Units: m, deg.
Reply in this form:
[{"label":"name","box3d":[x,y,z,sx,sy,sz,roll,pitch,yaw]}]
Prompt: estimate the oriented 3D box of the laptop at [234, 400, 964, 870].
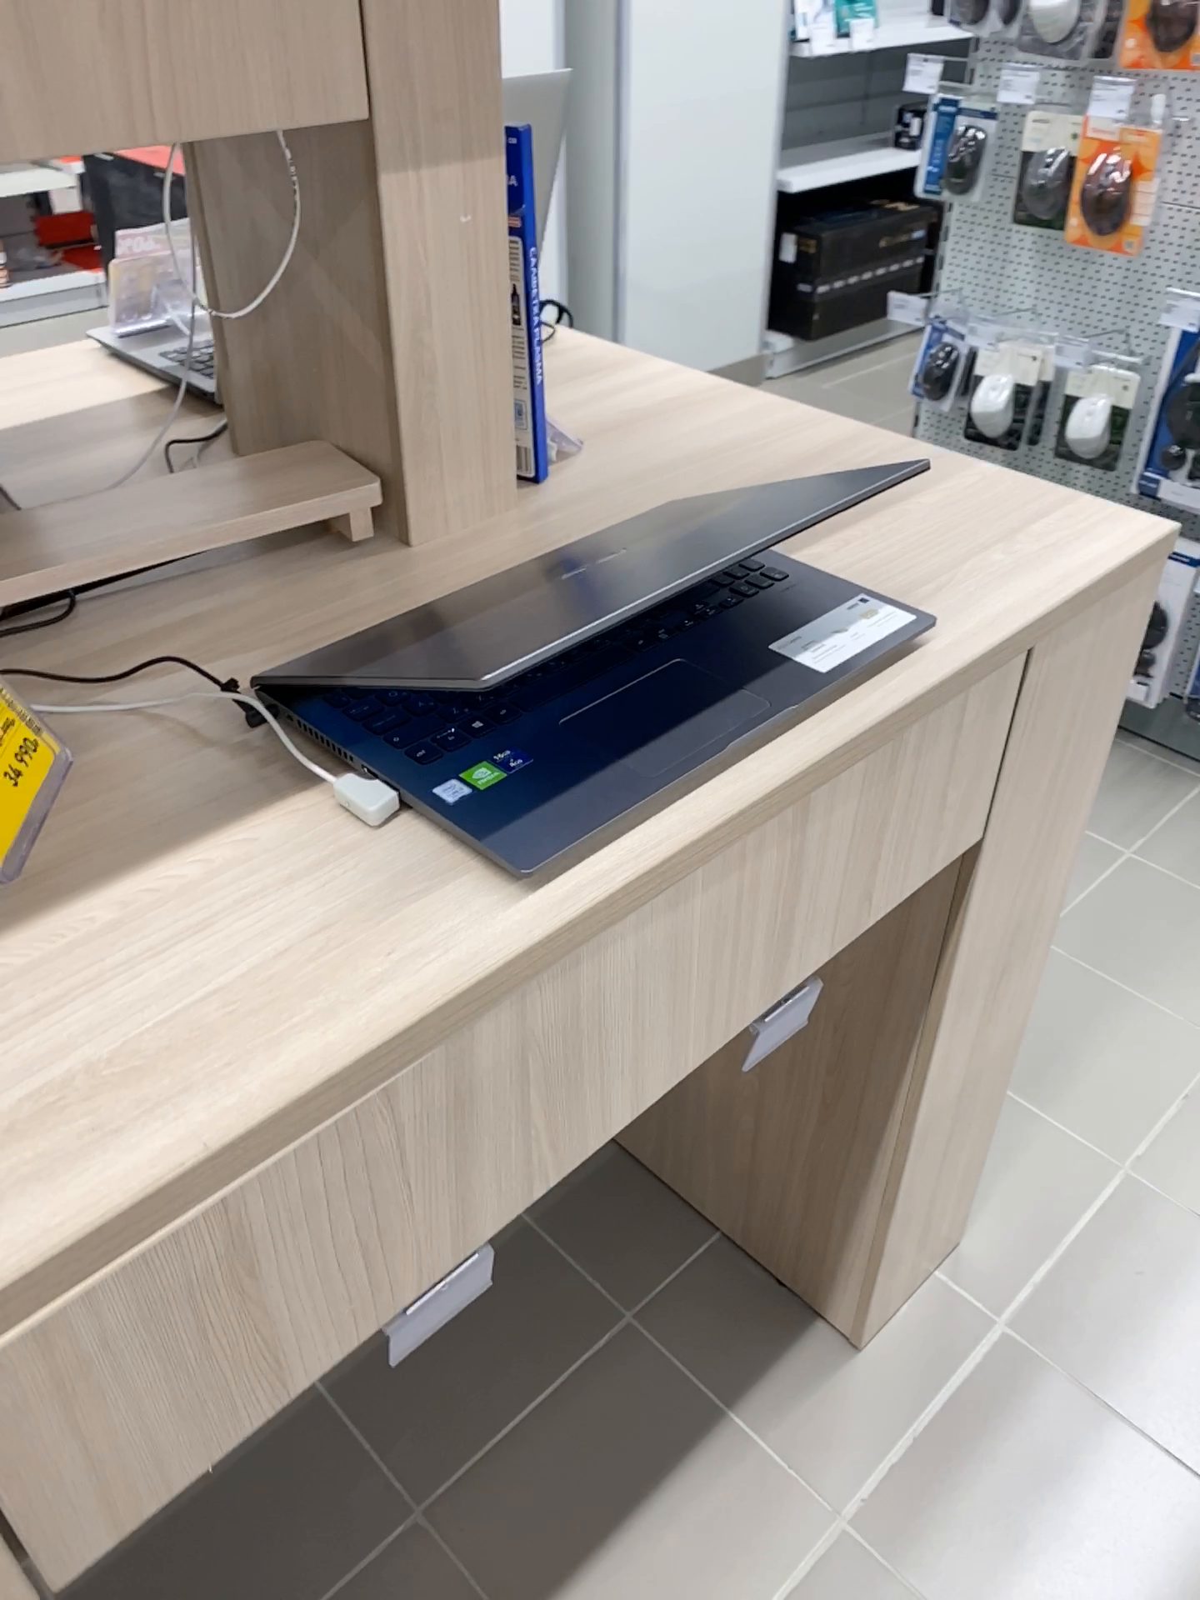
[{"label":"laptop","box3d":[0.011,-0.125,0.719,0.236,0.088,0.353,30,45,34]}]
